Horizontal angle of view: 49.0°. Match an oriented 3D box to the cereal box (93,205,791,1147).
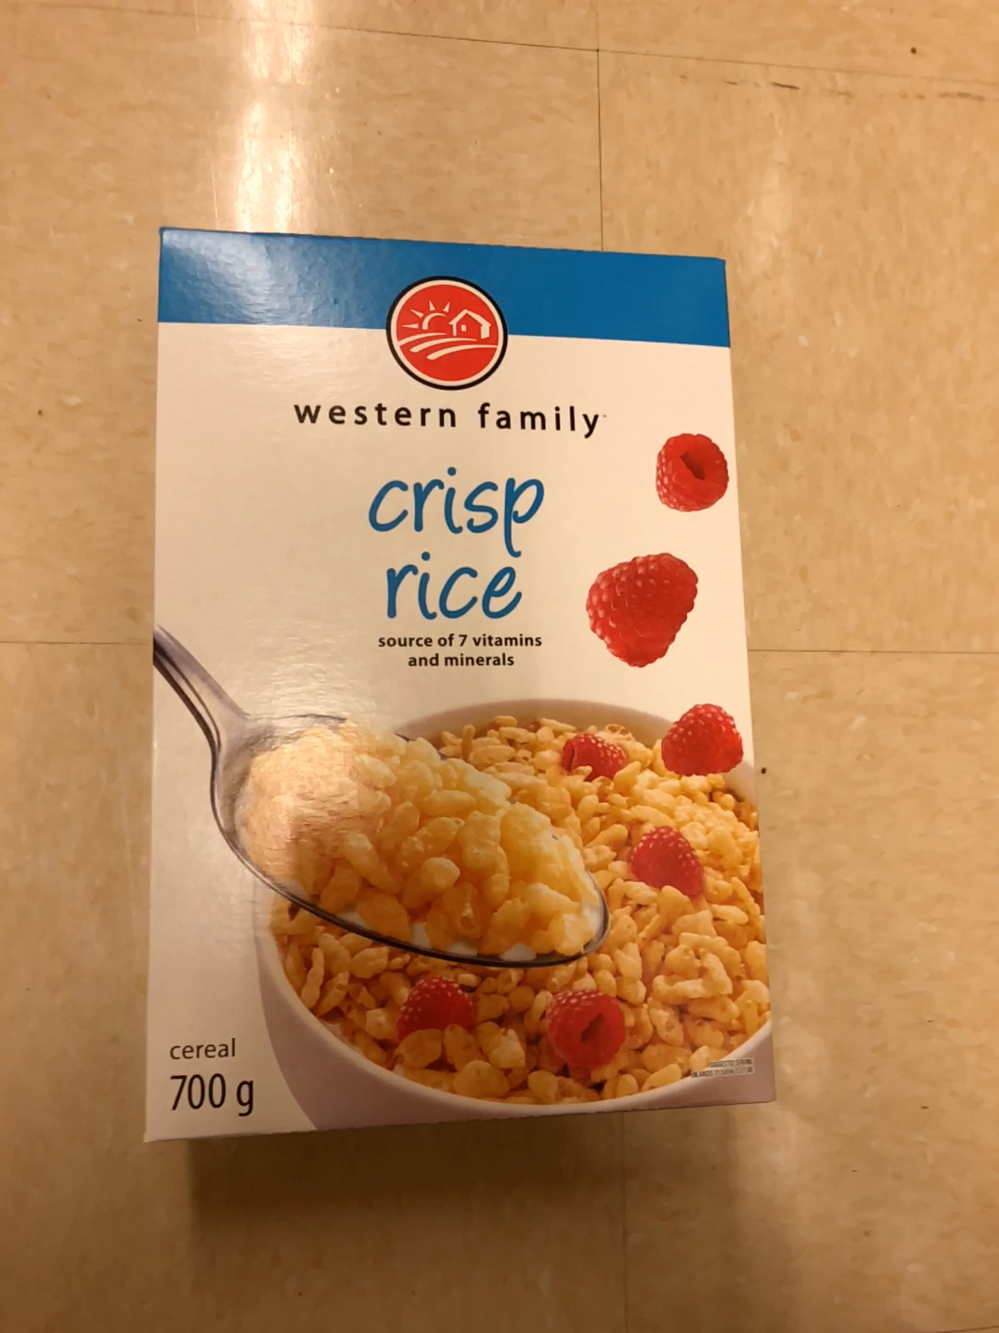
[{"bbox_3d":[-0.021,0.000,0.424,0.230,0.080,0.320,0,81,-8],"label":"cereal box"}]
